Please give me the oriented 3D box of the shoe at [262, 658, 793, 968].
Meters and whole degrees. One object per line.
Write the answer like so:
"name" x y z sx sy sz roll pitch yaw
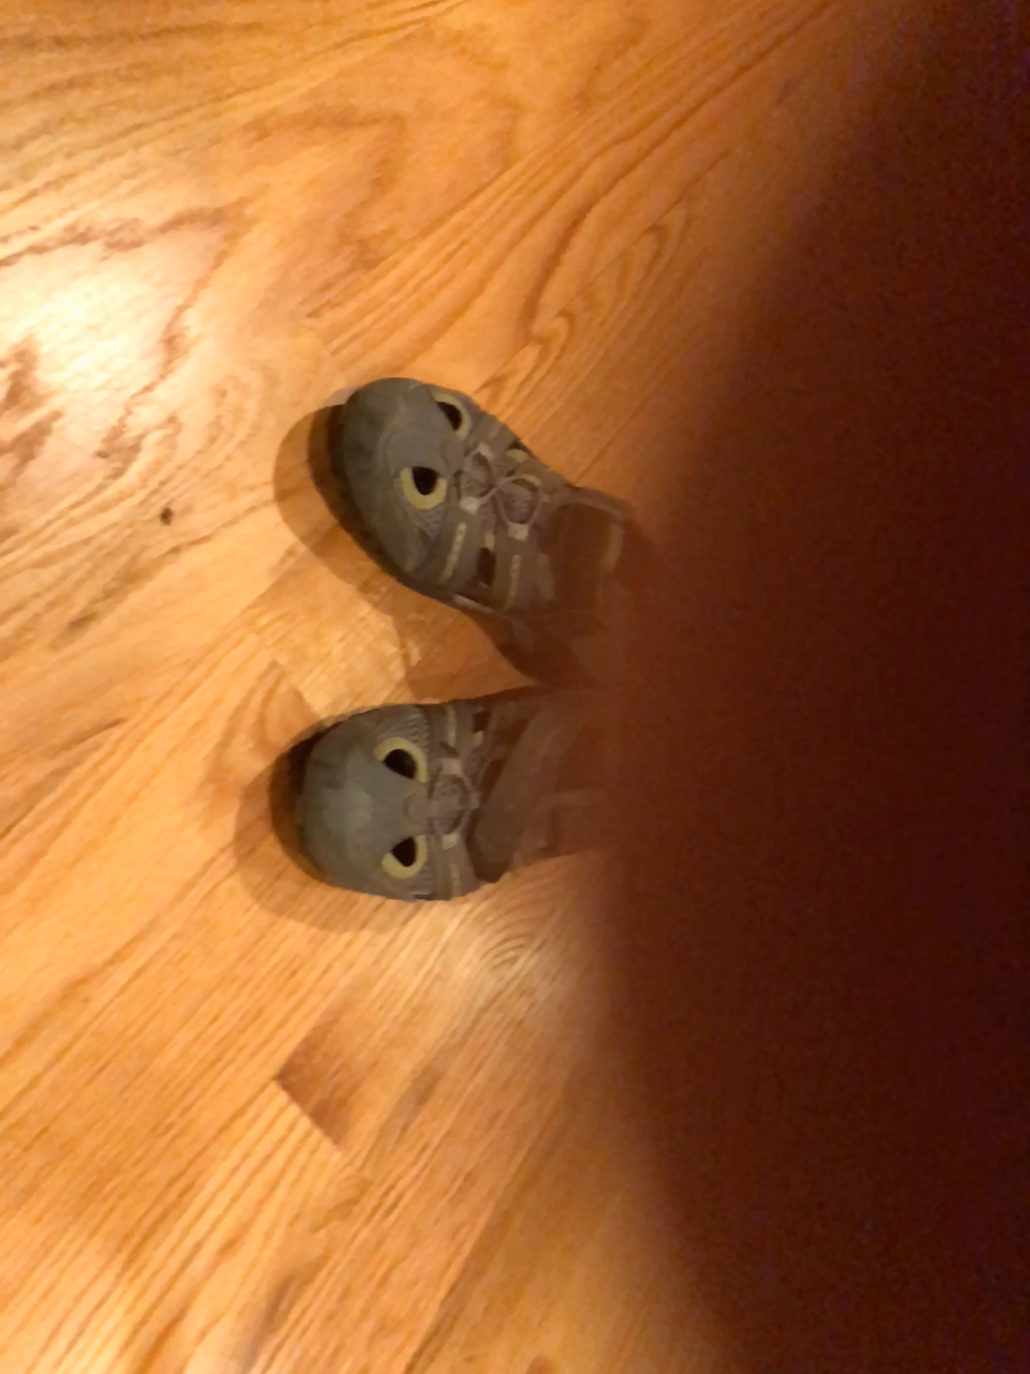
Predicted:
"shoe" 0.018 0.047 0.550 0.246 0.112 0.100 -7 92 -47

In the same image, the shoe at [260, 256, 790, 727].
"shoe" 0.018 -0.076 0.563 0.246 0.112 0.100 33 64 -40
